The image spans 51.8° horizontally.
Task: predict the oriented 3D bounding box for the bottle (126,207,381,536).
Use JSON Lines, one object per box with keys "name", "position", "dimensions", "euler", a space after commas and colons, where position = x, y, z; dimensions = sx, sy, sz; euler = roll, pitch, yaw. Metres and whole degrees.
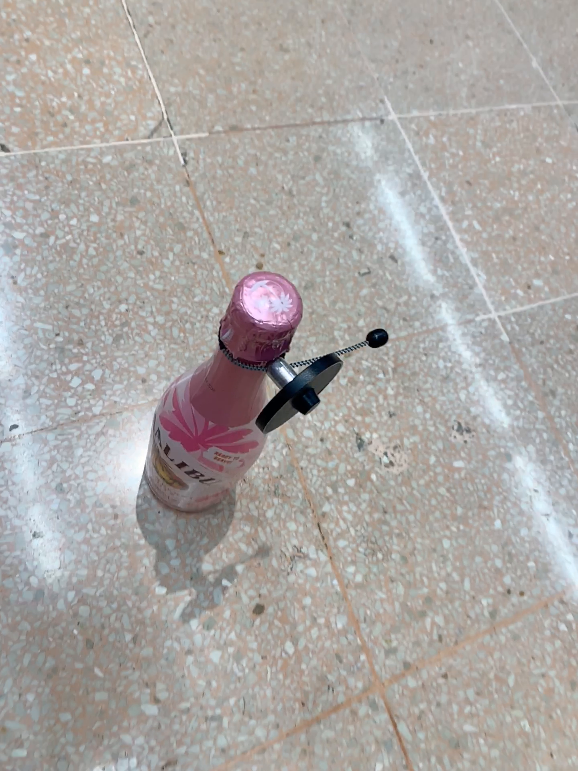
{"name": "bottle", "position": [-0.047, 0.021, 0.392], "dimensions": [0.080, 0.288, 0.080], "euler": [6, 67, -14]}
